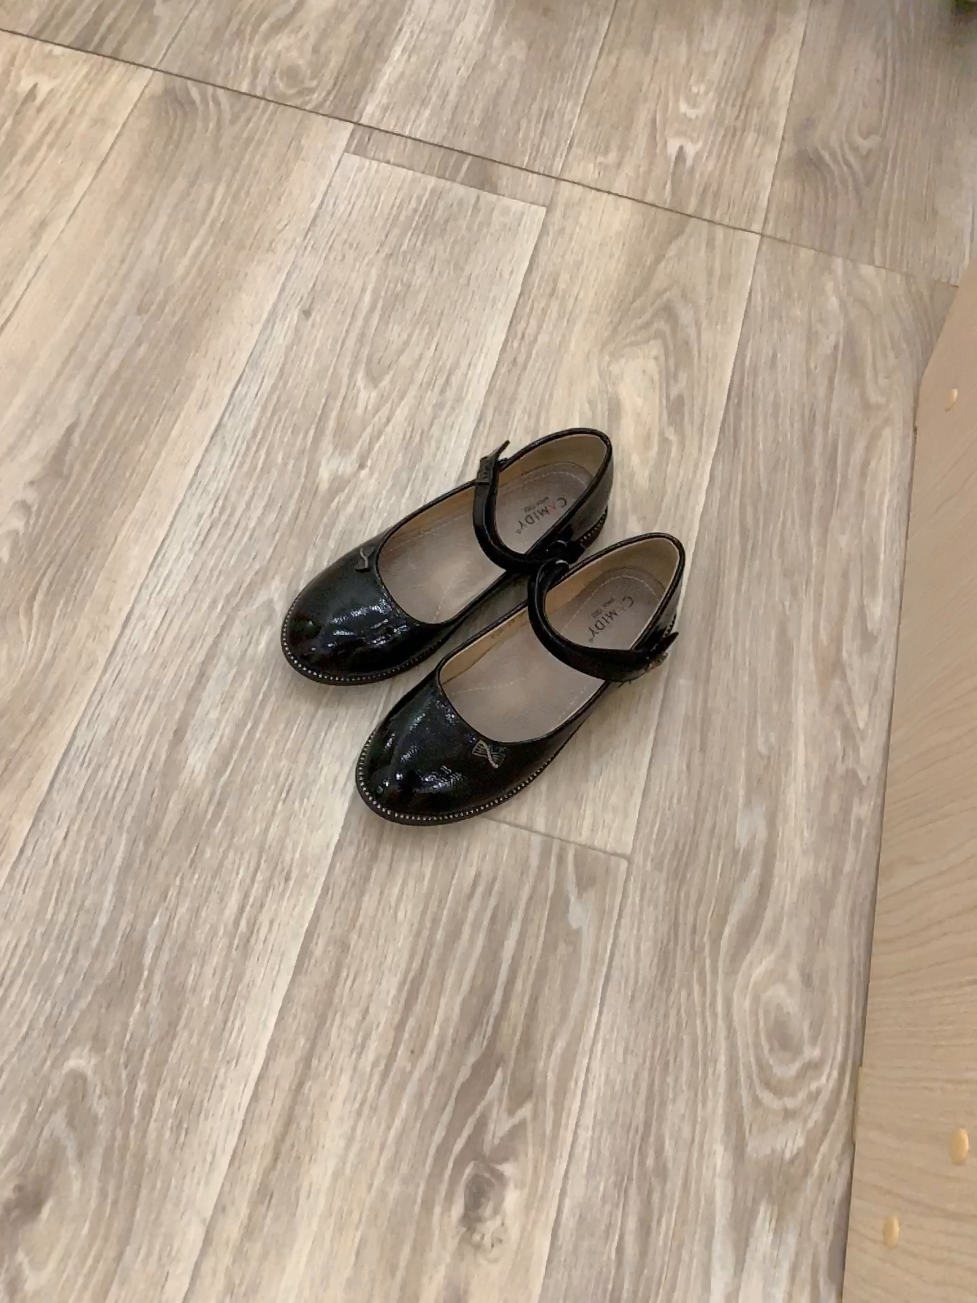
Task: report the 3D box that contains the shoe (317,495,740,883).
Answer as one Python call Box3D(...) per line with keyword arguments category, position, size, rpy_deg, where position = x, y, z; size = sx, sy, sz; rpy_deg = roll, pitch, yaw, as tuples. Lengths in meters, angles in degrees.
Box3D(category="shoe", position=(0.025, 0.023, 0.633), size=(0.250, 0.100, 0.090), rpy_deg=(-36, 74, -18))

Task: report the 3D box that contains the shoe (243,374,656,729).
Box3D(category="shoe", position=(-0.023, -0.067, 0.666), size=(0.250, 0.100, 0.090), rpy_deg=(-33, 73, -17))
